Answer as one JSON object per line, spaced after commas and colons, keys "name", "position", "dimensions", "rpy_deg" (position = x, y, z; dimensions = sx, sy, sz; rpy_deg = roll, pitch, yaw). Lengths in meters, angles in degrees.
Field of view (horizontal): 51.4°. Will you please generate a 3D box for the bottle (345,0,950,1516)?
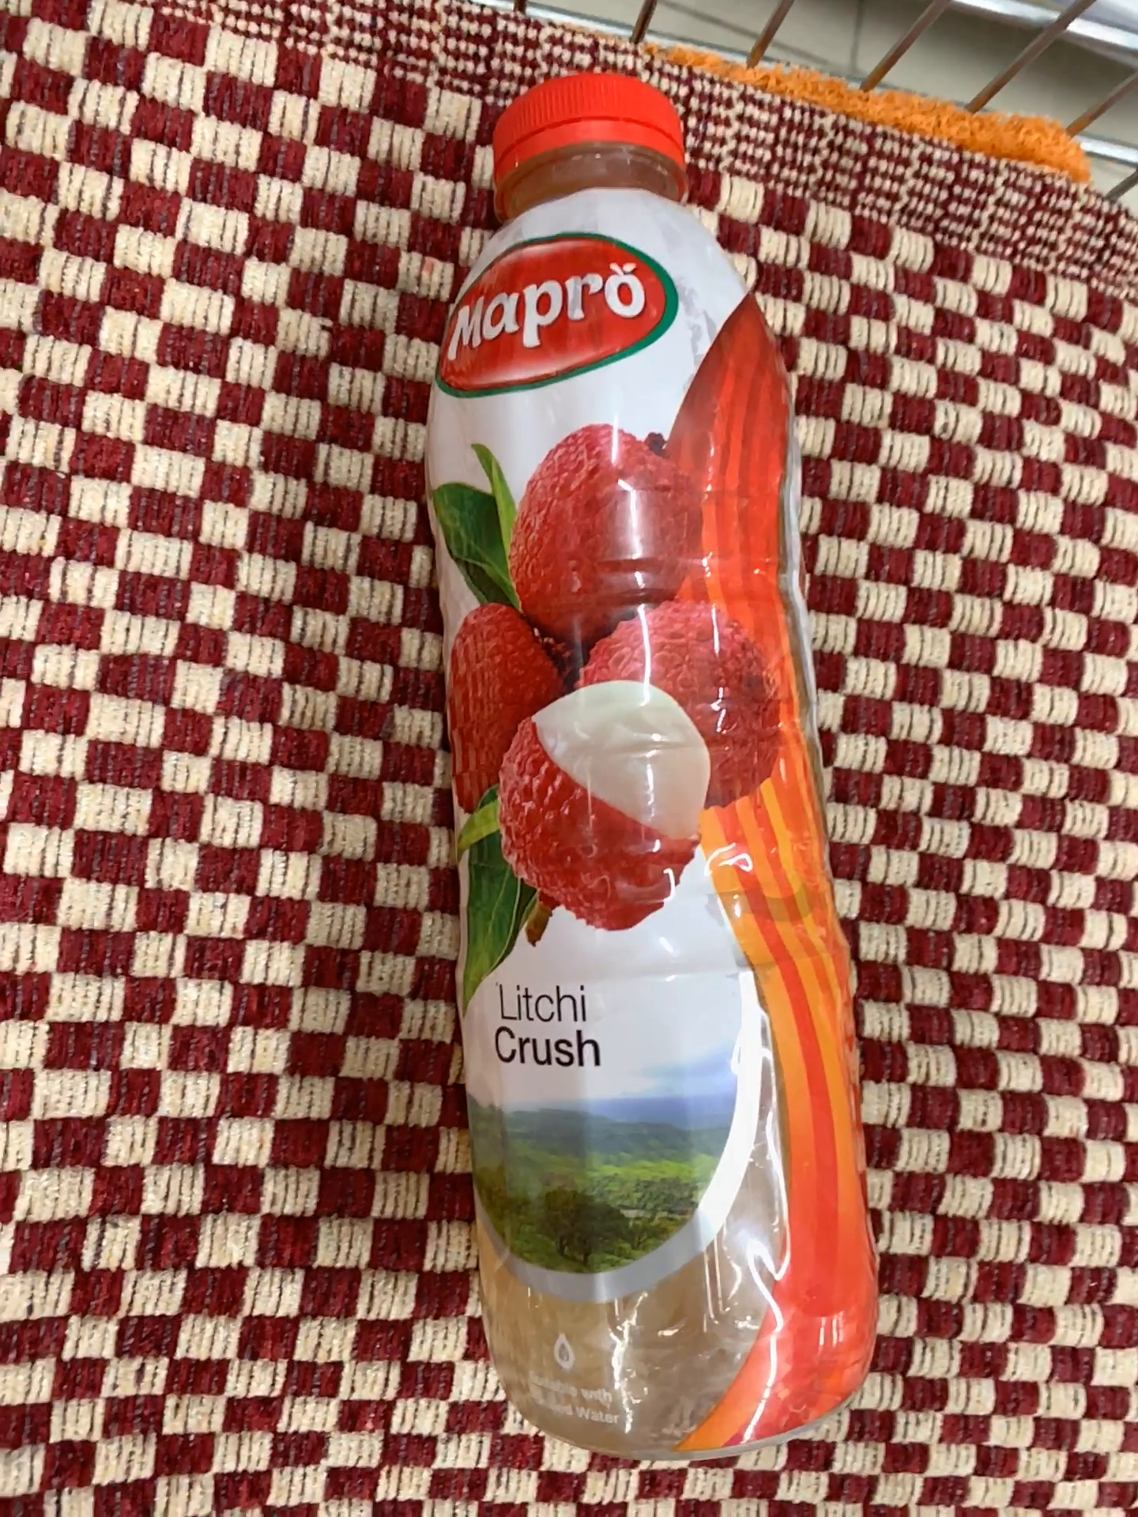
{"name": "bottle", "position": [0.018, -0.006, 0.219], "dimensions": [0.080, 0.070, 0.240], "rpy_deg": [-2, 89, -56]}
